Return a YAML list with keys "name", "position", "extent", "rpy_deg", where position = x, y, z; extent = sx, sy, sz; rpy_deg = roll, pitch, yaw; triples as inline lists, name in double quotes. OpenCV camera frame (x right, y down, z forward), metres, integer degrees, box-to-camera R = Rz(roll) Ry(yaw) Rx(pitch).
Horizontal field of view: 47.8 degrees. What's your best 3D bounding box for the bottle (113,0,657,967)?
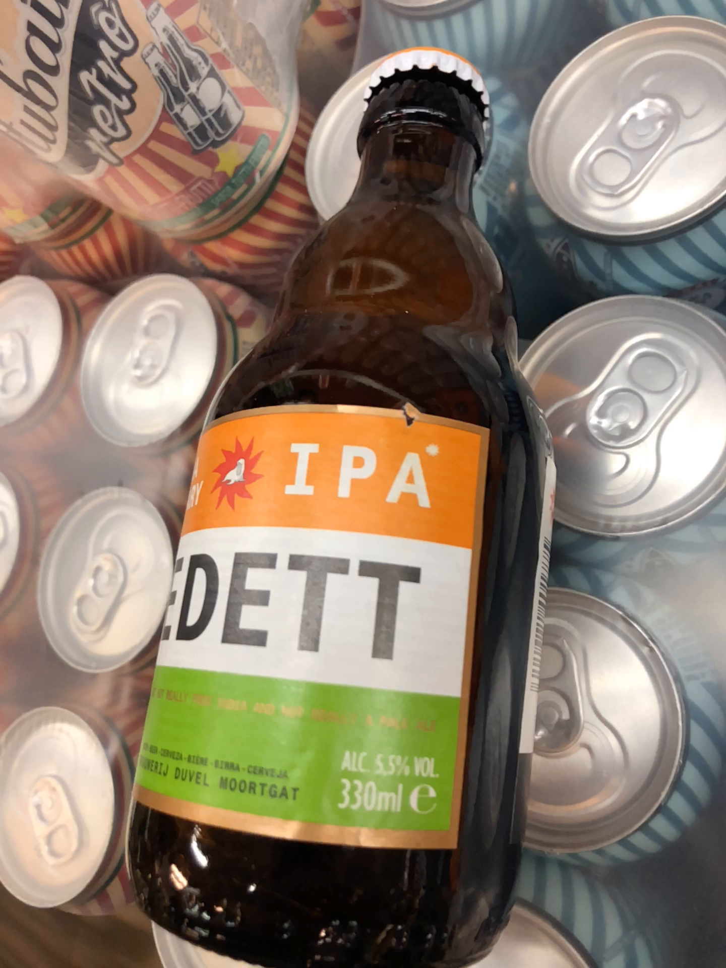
- name: "bottle"
  position: [0.013, -0.014, 0.159]
  extent: [0.070, 0.060, 0.190]
  rpy_deg: [0, 78, 29]
